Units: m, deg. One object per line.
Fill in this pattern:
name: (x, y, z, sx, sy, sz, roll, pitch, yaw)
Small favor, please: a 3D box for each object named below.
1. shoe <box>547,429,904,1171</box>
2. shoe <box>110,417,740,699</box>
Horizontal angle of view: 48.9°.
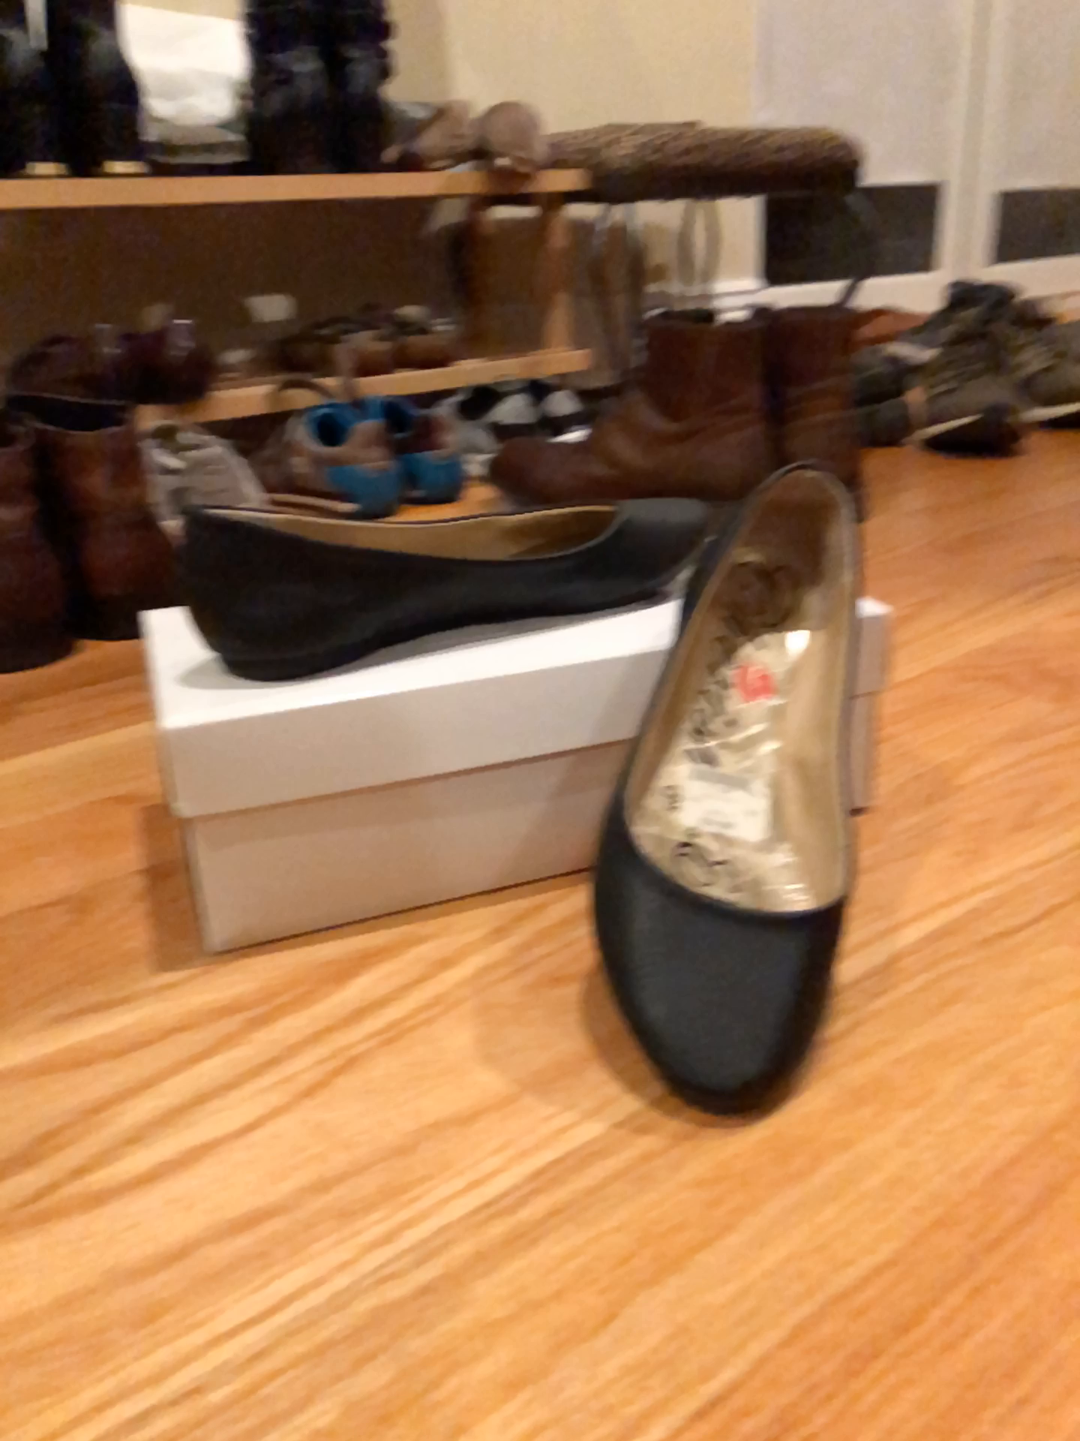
shoe: (0.068, 0.016, 0.406, 0.076, 0.060, 0.241, 14, 60, 2)
shoe: (-0.039, -0.074, 0.482, 0.240, 0.060, 0.076, -15, 25, -26)
